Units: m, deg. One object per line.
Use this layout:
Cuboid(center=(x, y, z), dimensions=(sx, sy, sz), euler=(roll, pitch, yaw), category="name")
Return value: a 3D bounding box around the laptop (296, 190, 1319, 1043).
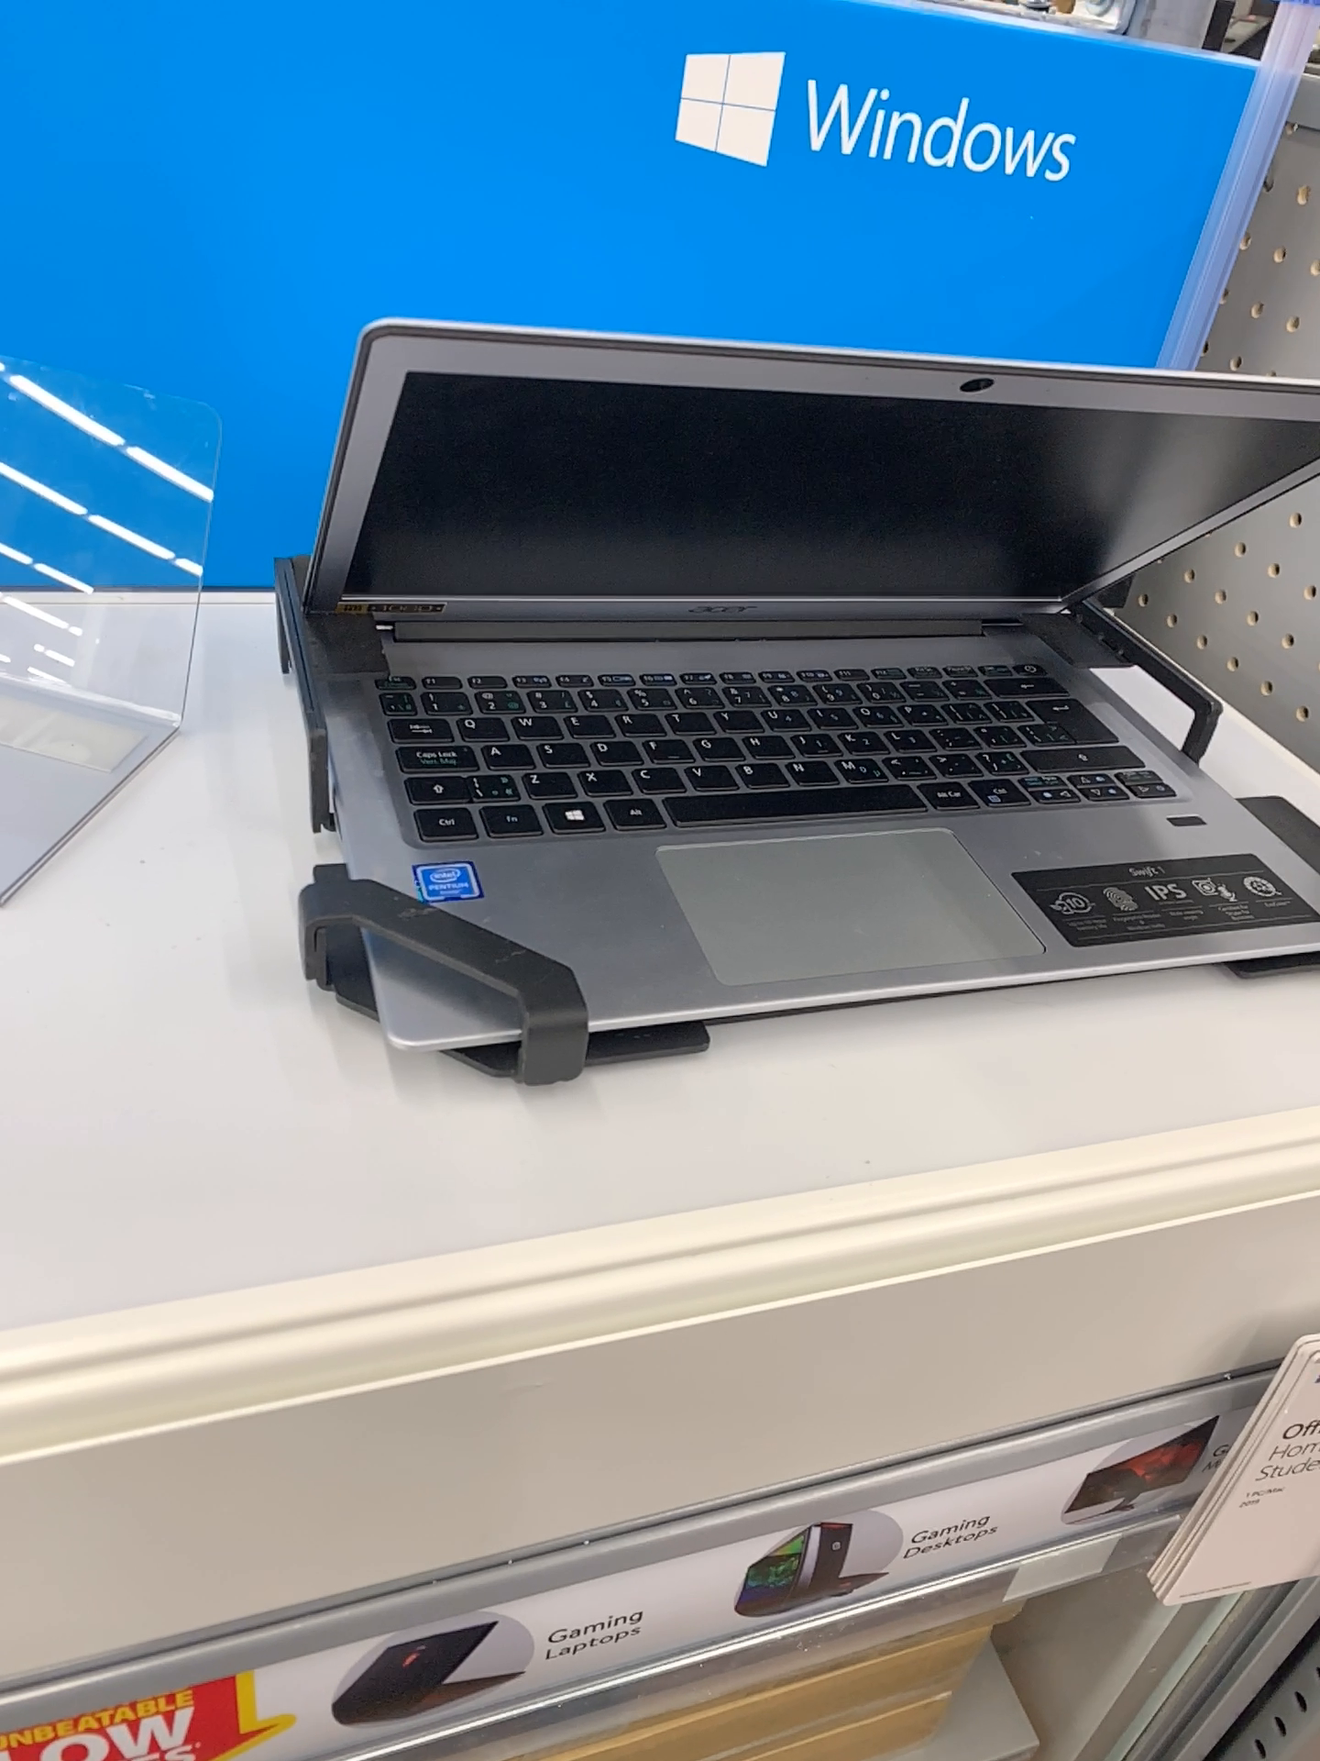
Cuboid(center=(0.060, -0.090, 0.410), dimensions=(0.307, 0.140, 0.198), euler=(-4, 39, -19), category="laptop")
